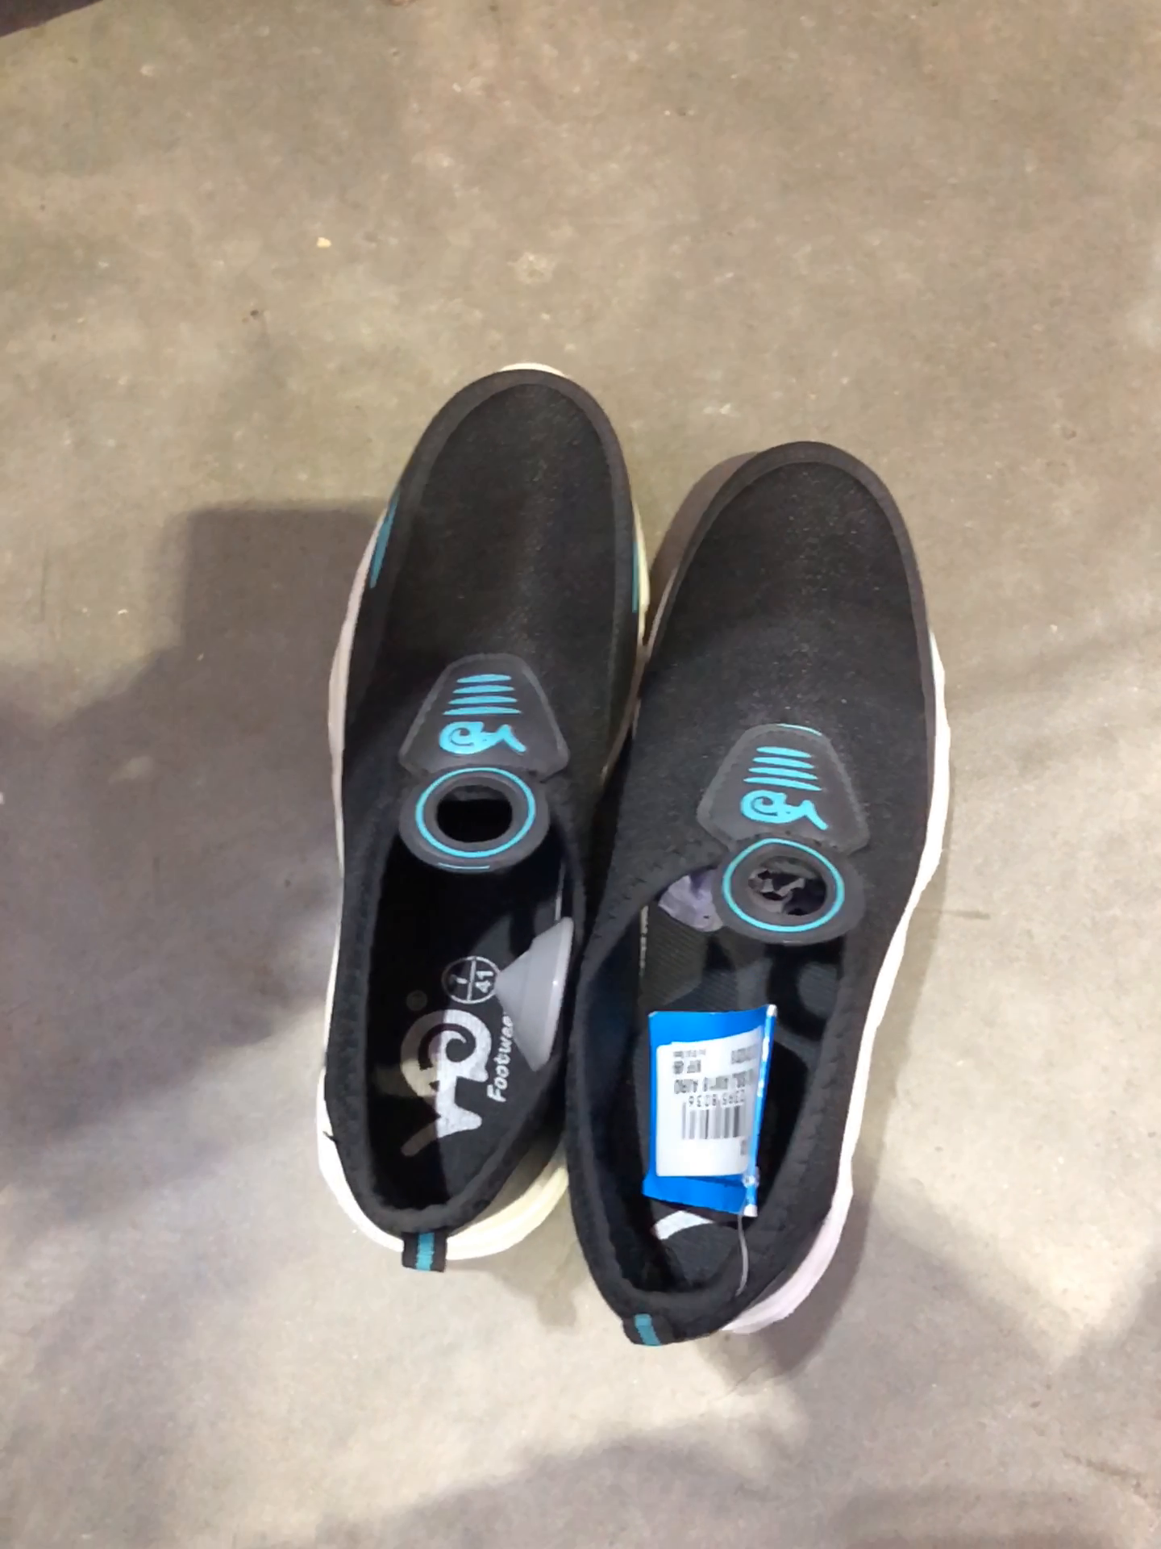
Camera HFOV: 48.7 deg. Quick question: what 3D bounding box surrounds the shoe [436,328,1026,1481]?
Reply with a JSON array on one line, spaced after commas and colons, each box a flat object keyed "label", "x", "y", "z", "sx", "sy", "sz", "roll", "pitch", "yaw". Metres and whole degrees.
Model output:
[{"label": "shoe", "x": 0.048, "y": 0.031, "z": 0.402, "sx": 0.110, "sy": 0.100, "sz": 0.300, "roll": 11, "pitch": 80, "yaw": 4}]

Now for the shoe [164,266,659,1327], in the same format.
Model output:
[{"label": "shoe", "x": -0.042, "y": 0.003, "z": 0.417, "sx": 0.110, "sy": 0.100, "sz": 0.300, "roll": 5, "pitch": 80, "yaw": 3}]
